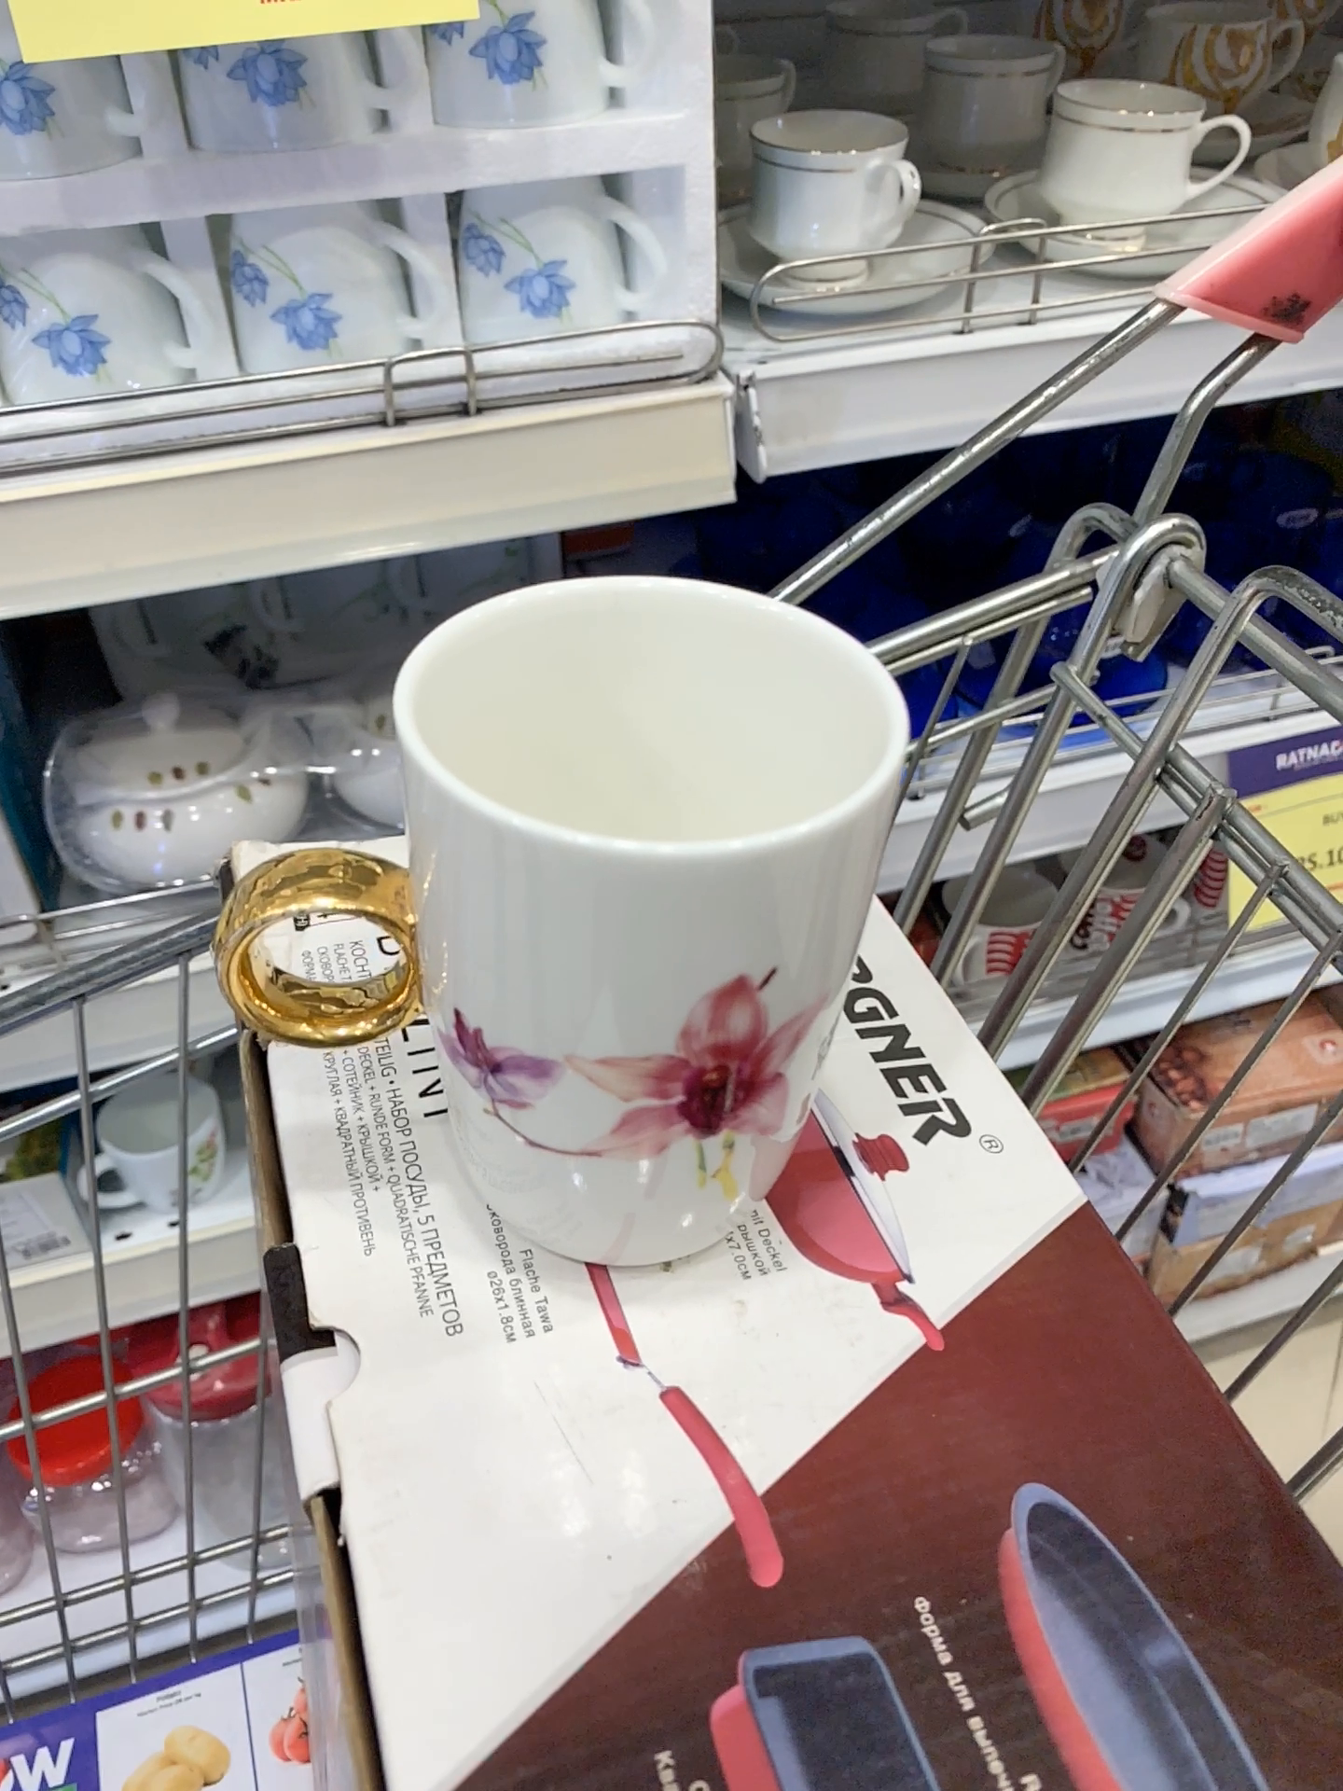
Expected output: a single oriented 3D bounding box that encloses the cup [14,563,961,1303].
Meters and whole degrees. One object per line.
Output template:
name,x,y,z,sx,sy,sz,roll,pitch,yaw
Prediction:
cup,-0.024,0.006,0.218,0.110,0.090,0.070,-1,41,-4
